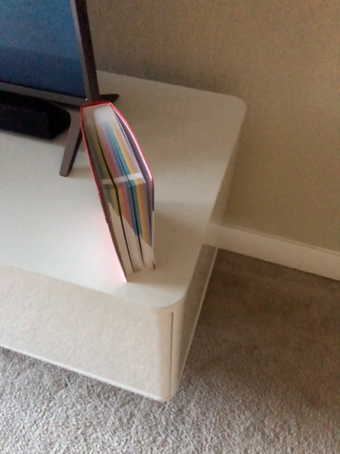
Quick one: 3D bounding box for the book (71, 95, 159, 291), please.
[{"bbox_3d":[-0.065,-0.037,0.468,0.060,0.179,0.150,-13,53,-12],"label":"book"}]
